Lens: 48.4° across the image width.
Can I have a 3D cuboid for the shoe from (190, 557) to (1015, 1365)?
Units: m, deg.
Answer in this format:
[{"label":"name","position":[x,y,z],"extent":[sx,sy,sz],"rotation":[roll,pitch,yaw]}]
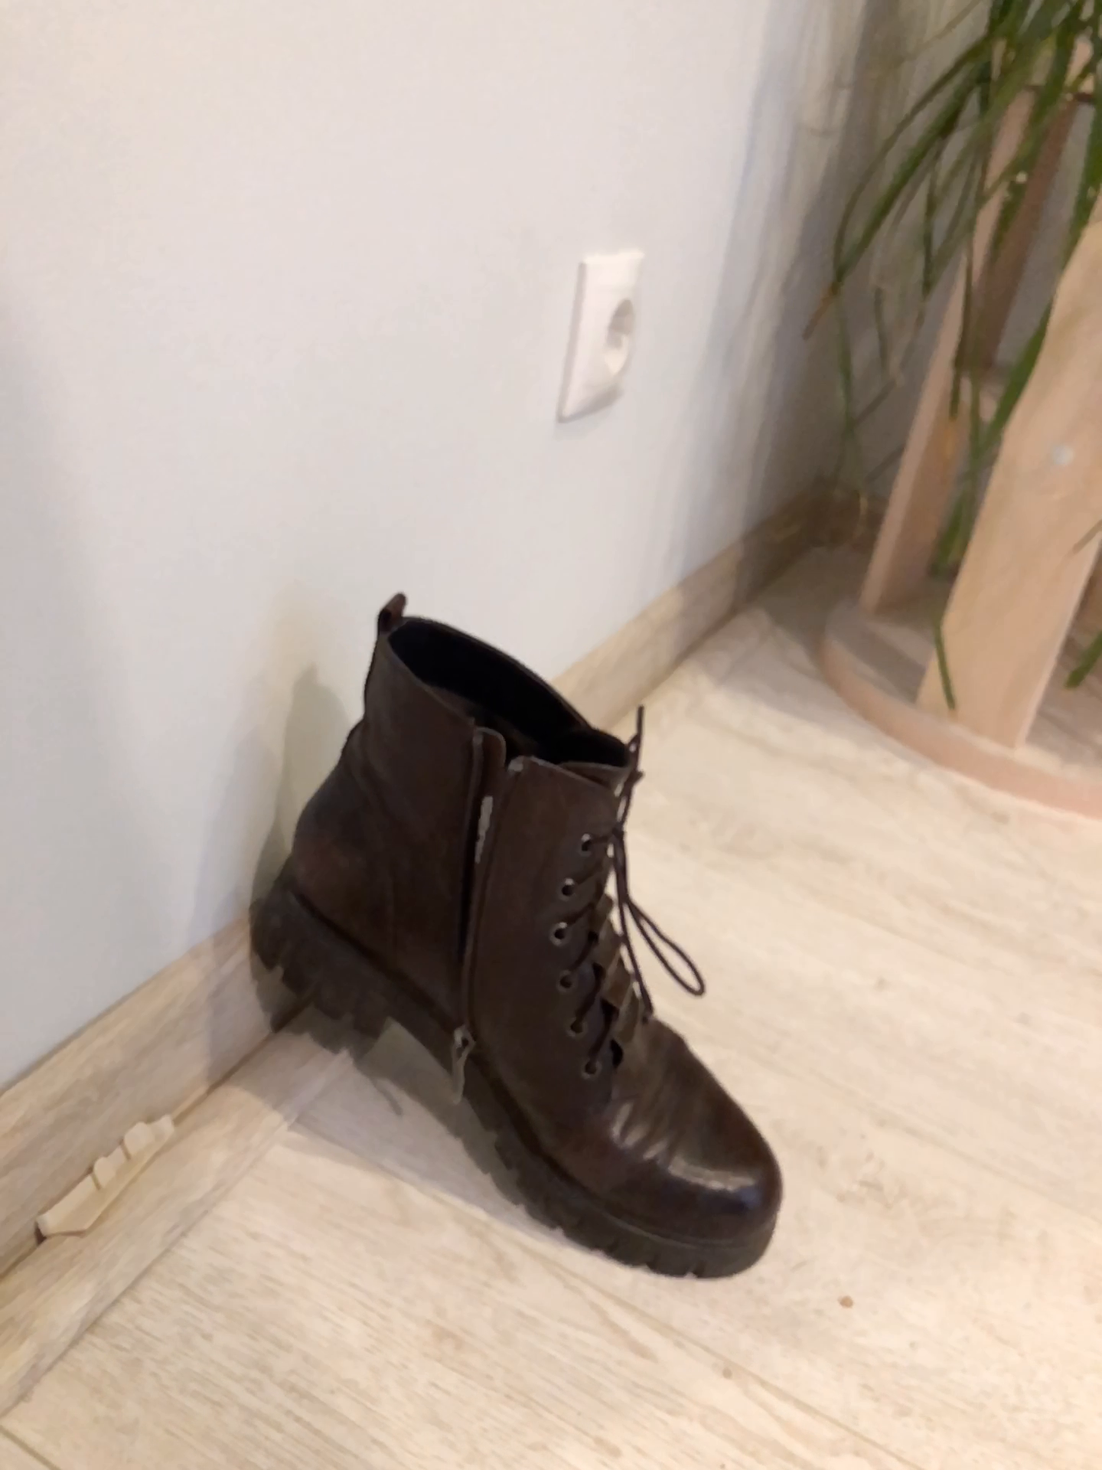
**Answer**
[{"label":"shoe","position":[0.011,0.087,0.488],"extent":[0.260,0.179,0.101],"rotation":[36,35,8]}]
